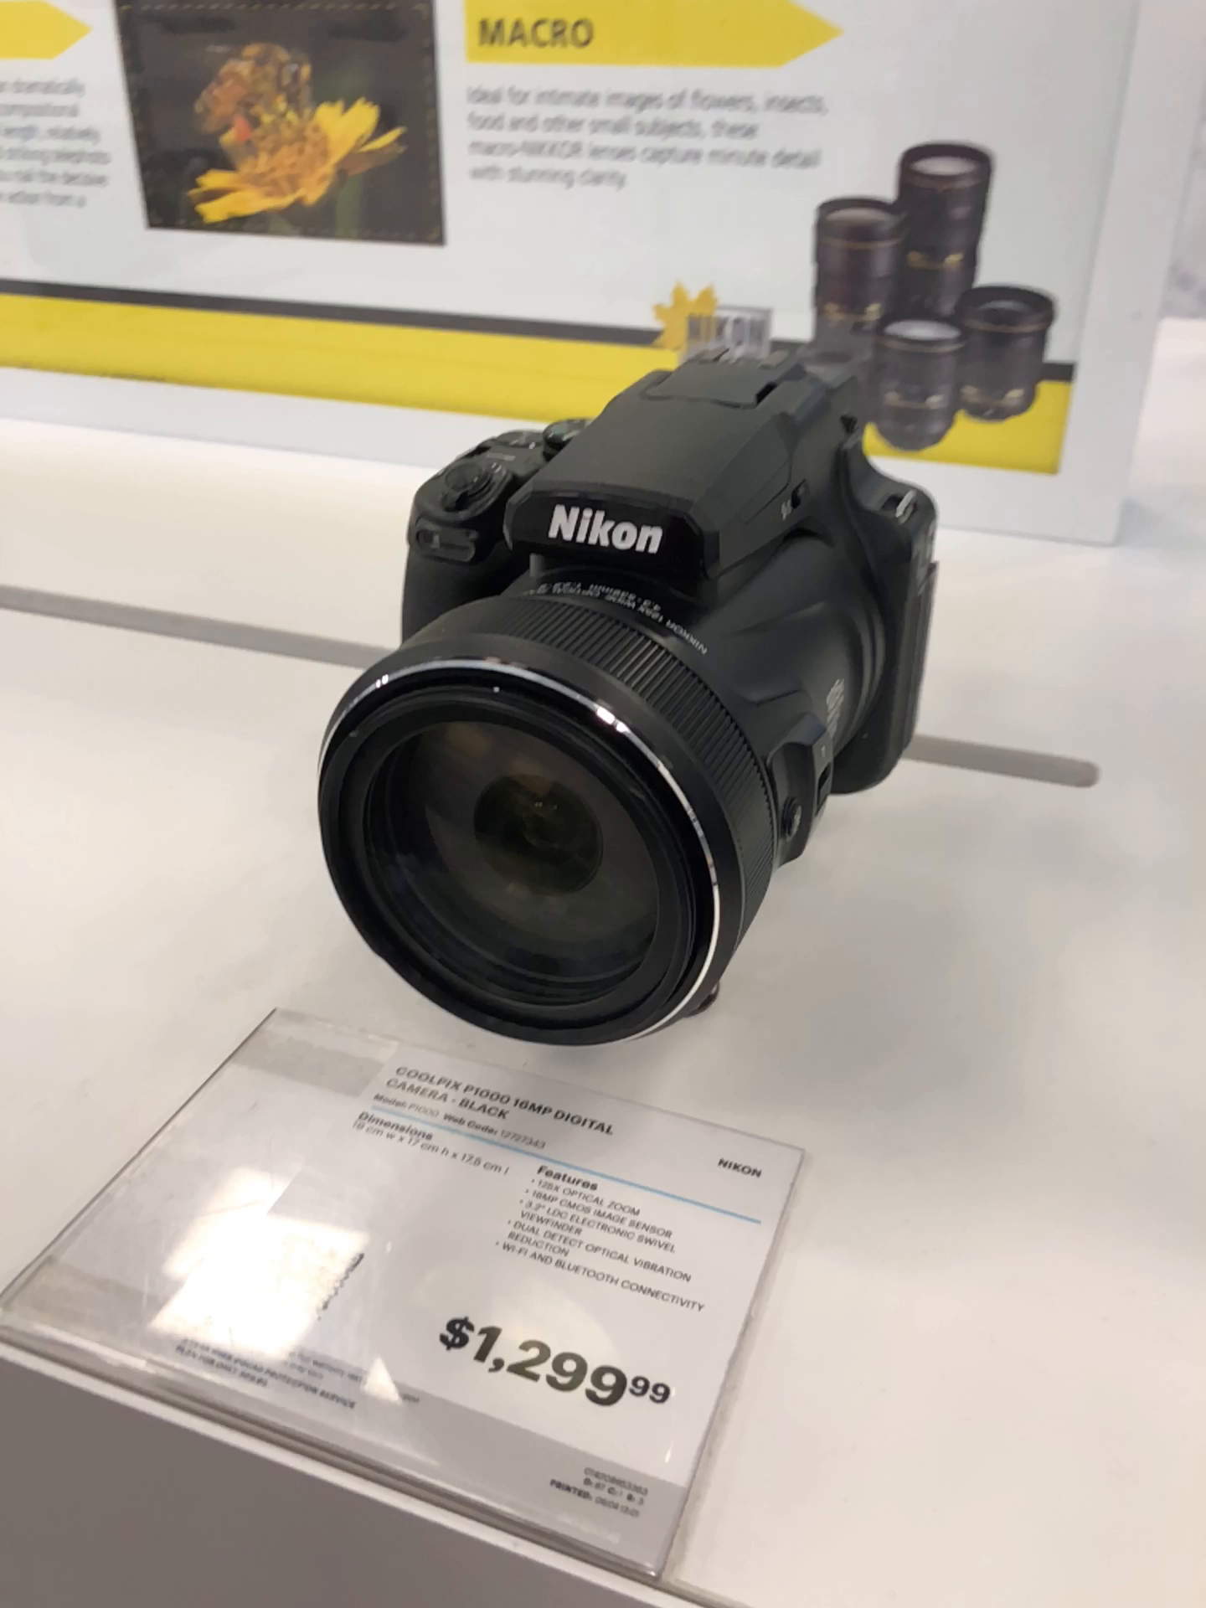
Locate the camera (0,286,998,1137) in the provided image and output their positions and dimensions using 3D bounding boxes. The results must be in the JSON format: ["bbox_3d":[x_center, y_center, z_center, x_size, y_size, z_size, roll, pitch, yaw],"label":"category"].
[{"bbox_3d":[-0.008,-0.046,0.320,0.160,0.110,0.191,11,32,18],"label":"camera"}]
